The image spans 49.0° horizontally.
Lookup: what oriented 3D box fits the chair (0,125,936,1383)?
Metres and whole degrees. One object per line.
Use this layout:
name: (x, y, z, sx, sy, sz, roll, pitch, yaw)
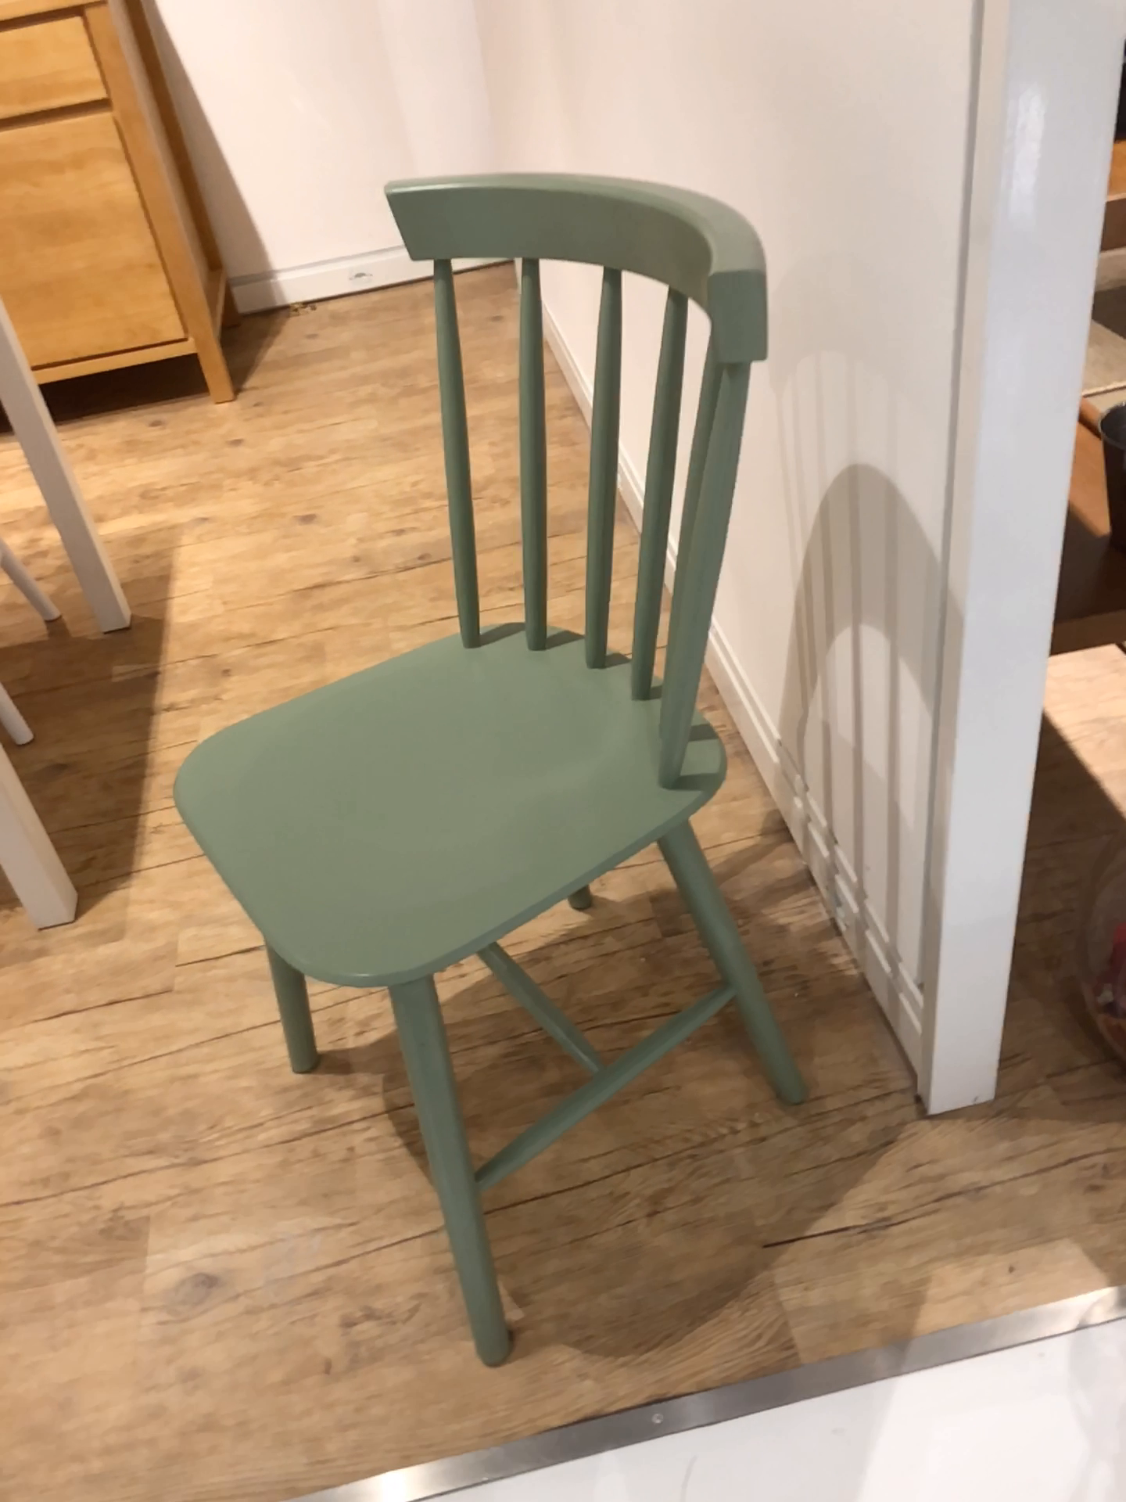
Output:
chair: (-0.063, -0.004, 1.058, 0.521, 0.814, 0.473, -28, 41, -21)
